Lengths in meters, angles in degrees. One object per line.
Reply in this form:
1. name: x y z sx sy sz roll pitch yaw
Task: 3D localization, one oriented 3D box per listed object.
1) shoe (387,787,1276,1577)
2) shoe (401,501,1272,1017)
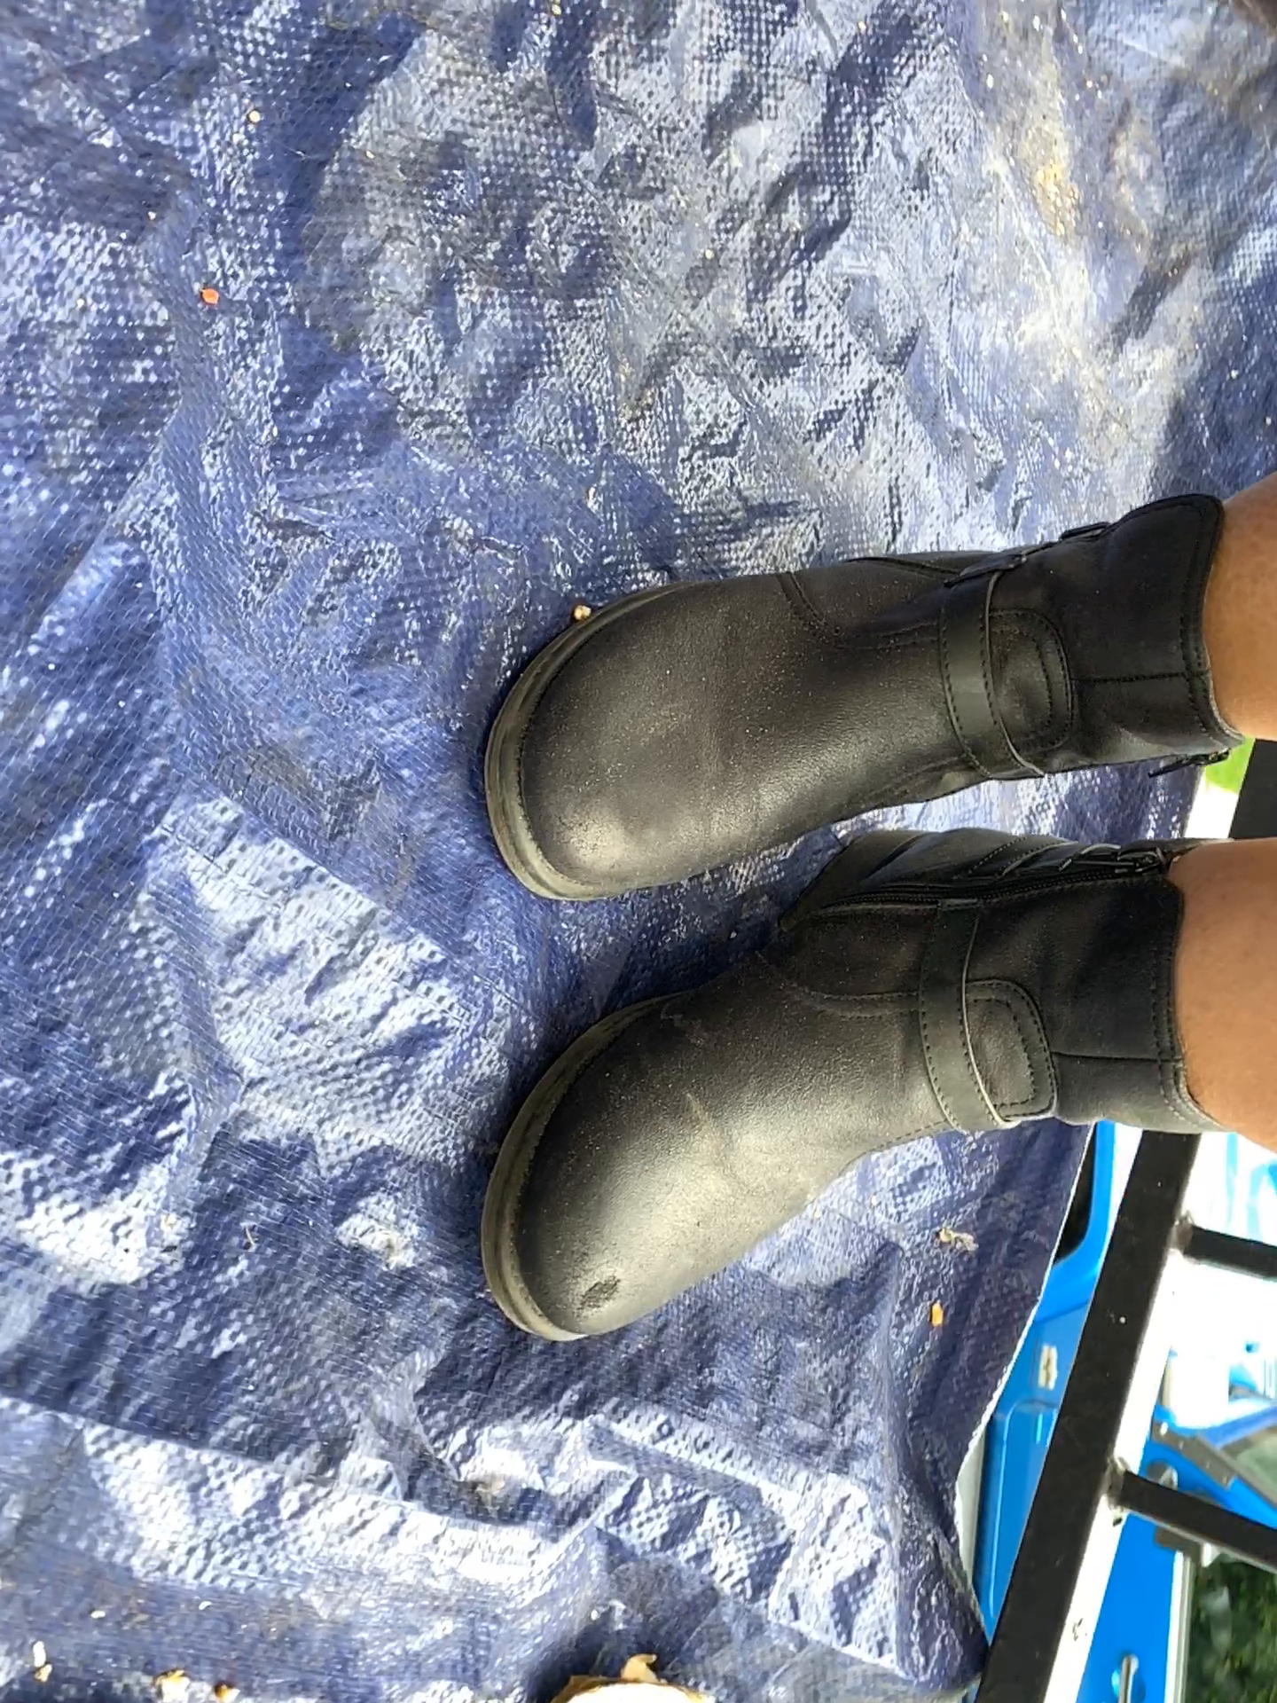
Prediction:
1. shoe: 0.081 0.070 0.413 0.281 0.109 0.110 -22 105 -39
2. shoe: 0.083 -0.044 0.442 0.281 0.129 0.100 -19 103 -39
